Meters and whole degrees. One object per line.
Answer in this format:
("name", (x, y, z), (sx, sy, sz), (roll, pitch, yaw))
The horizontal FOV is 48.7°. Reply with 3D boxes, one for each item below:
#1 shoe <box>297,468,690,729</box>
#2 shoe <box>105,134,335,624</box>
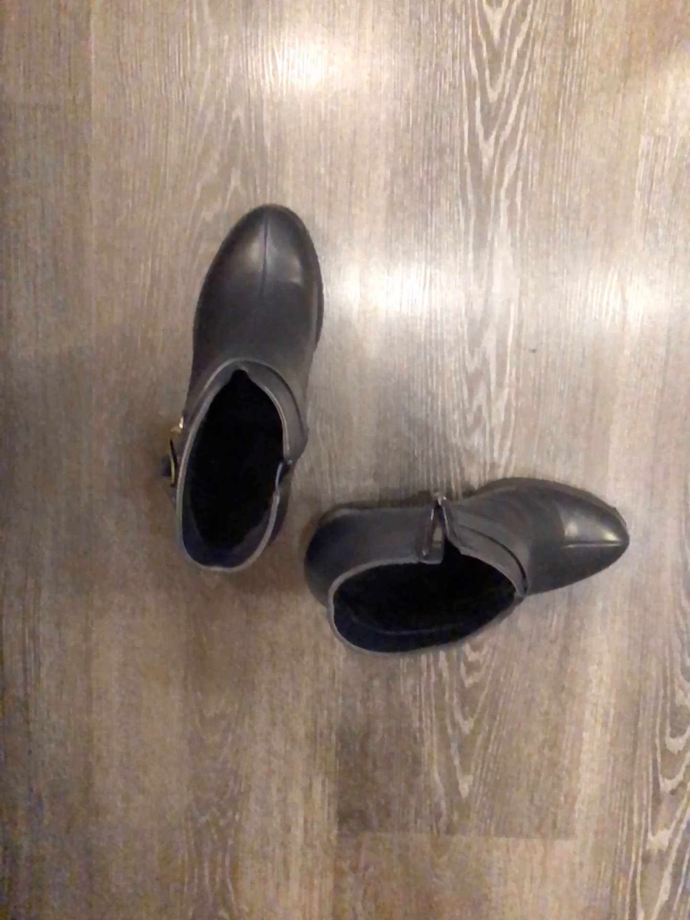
("shoe", (0.094, 0.073, 0.487), (0.230, 0.200, 0.090), (4, 98, 0))
("shoe", (-0.065, -0.047, 0.462), (0.090, 0.180, 0.230), (6, 98, -1))
